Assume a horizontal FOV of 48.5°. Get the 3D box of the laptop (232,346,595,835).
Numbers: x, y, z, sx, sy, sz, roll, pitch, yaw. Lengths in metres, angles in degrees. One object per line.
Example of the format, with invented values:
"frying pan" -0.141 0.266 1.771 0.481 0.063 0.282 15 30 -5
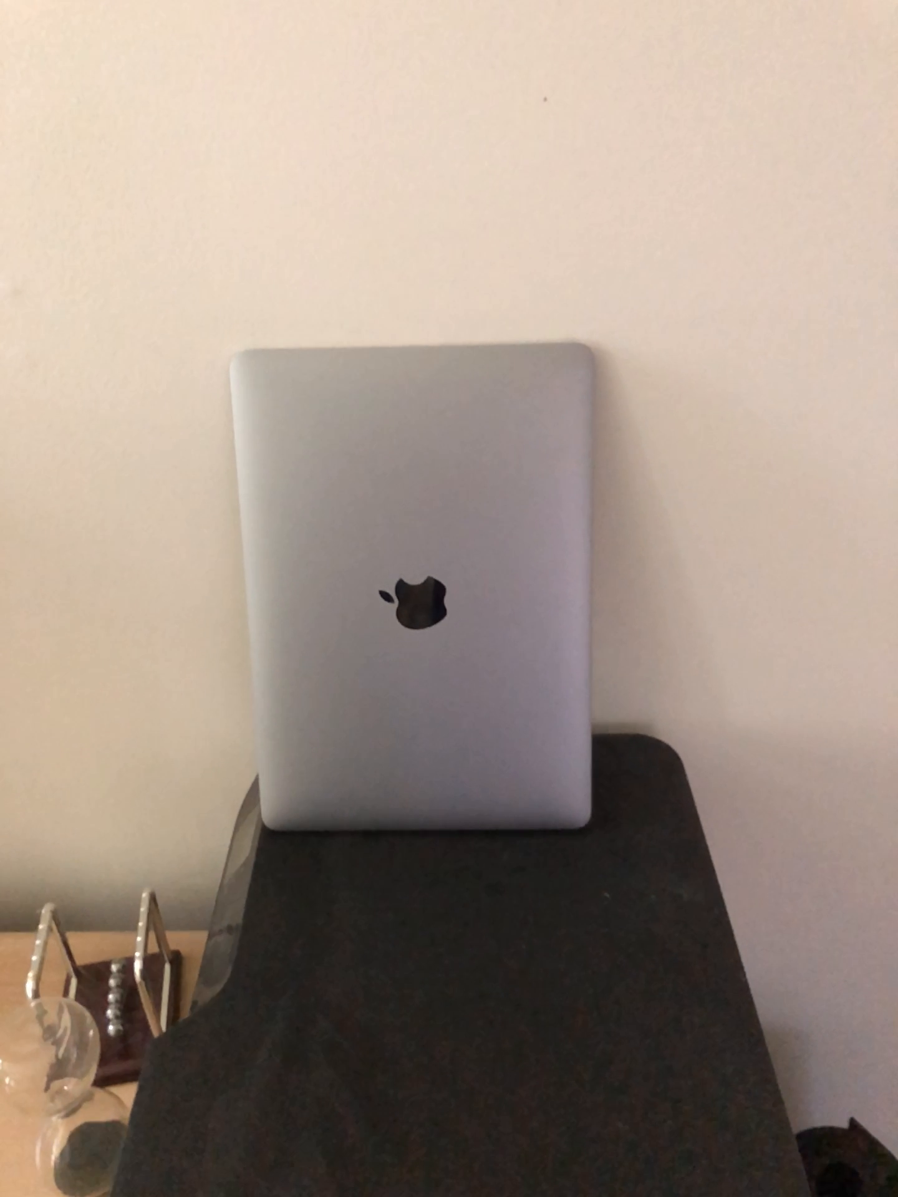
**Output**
"laptop" -0.017 0.004 0.564 0.196 0.275 0.002 -1 12 3
